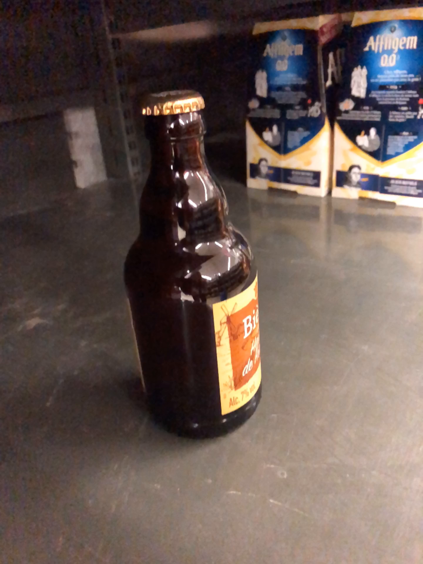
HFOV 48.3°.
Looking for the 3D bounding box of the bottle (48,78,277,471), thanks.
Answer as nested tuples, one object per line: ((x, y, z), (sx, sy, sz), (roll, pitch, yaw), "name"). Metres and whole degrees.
((-0.011, -0.002, 0.242), (0.070, 0.179, 0.070), (-5, 27, 2), "bottle")

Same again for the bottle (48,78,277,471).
((-0.011, -0.002, 0.242), (0.070, 0.179, 0.070), (-5, 27, 2), "bottle")
